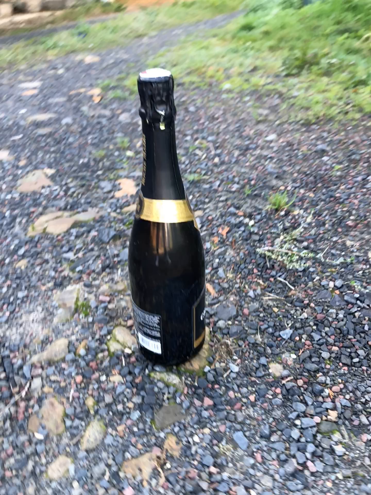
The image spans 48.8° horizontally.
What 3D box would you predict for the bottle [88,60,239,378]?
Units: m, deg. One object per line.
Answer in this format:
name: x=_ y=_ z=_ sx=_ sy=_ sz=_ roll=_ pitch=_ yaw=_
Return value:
bottle: x=-0.019 y=-0.020 z=0.422 sx=0.100 sy=0.298 sz=0.100 roll=-1 pitch=31 yaw=1
